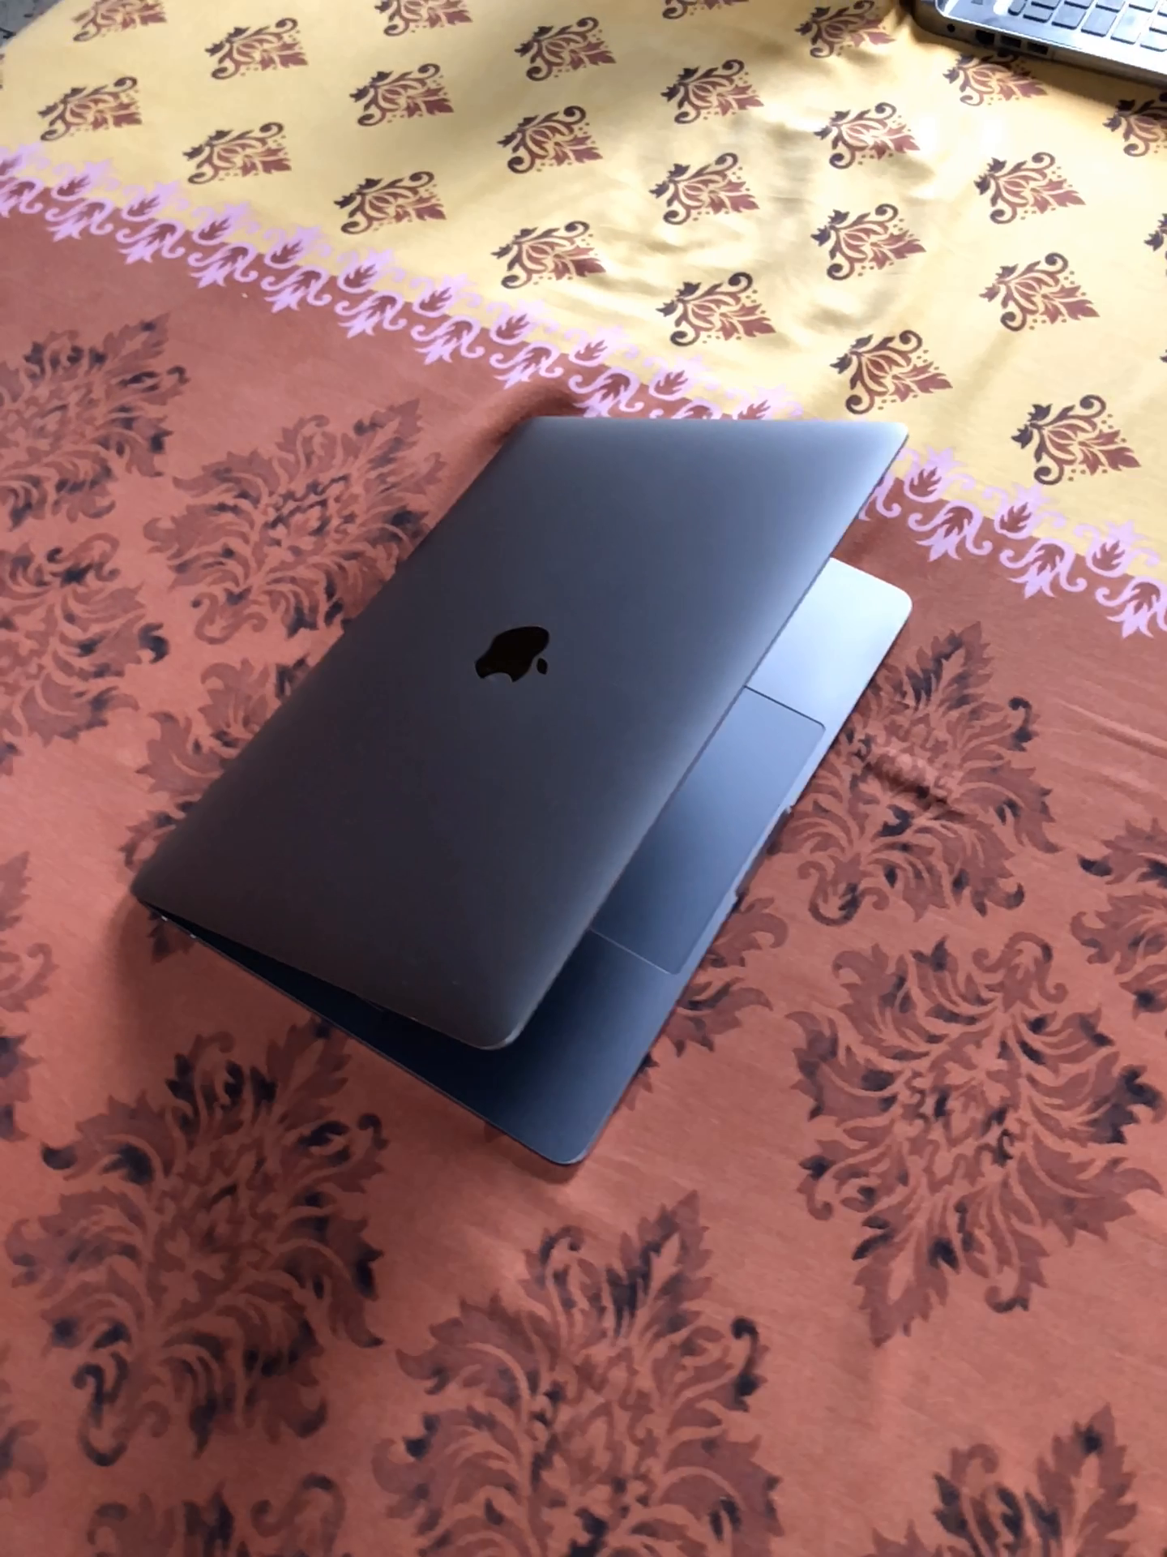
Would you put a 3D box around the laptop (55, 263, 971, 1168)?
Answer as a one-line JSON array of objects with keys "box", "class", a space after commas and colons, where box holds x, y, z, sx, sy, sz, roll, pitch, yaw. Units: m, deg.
[{"box": [-0.015, -0.040, 0.495, 0.204, 0.093, 0.286, 28, 66, 16], "class": "laptop"}]
